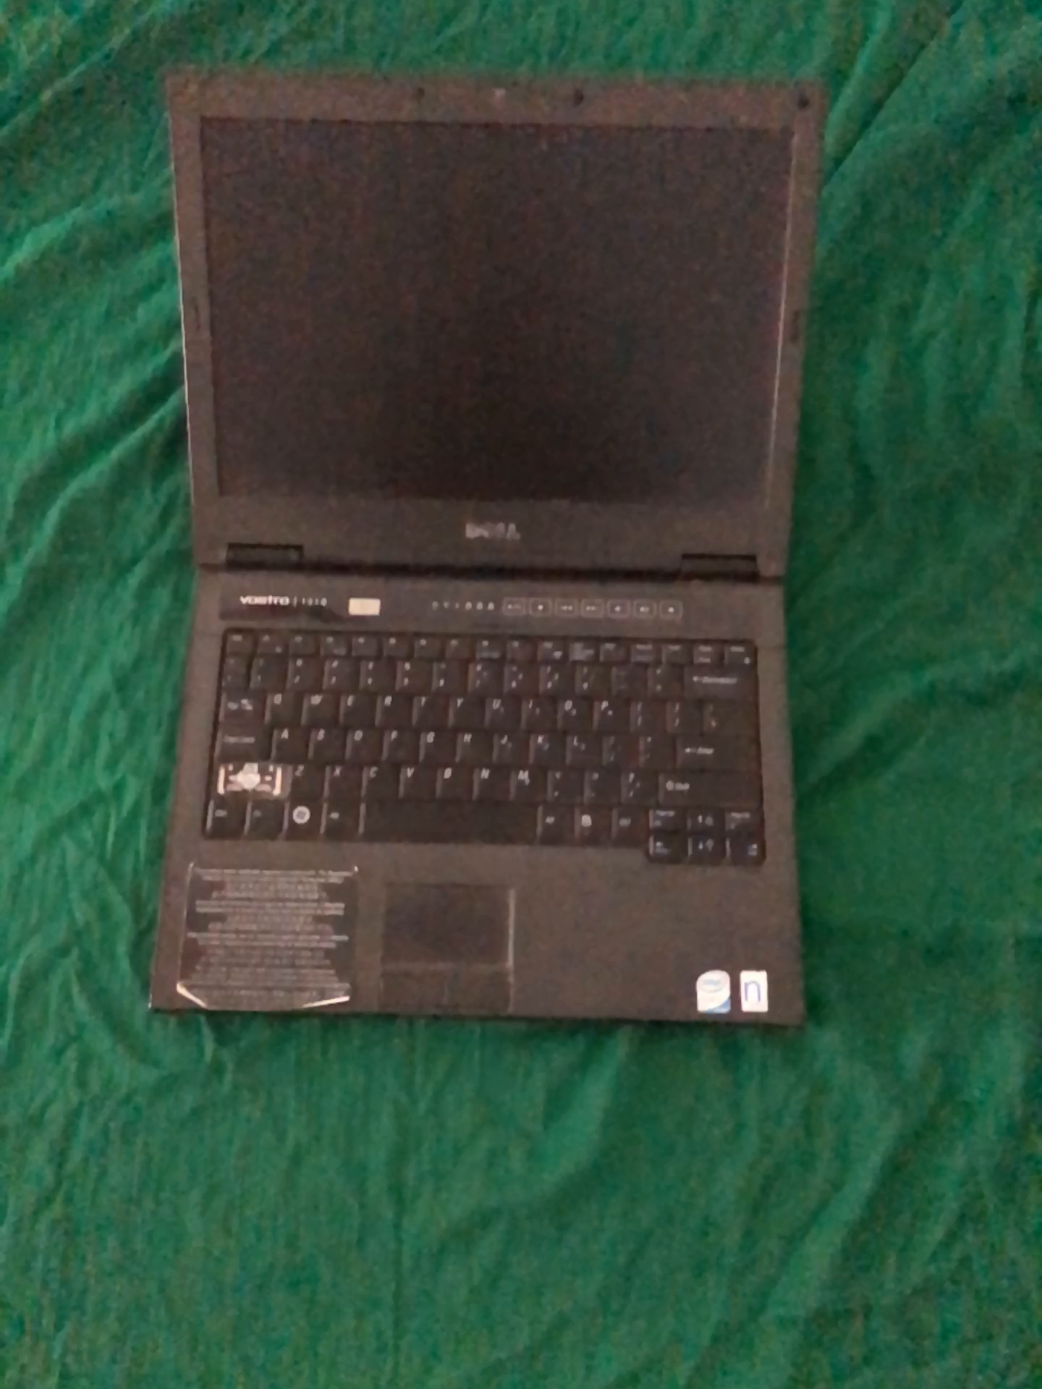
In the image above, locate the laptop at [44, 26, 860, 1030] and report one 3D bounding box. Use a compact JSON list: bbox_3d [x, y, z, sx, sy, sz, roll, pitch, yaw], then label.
[{"bbox_3d":[-0.018,-0.073,0.543,0.313,0.127,0.439,2,77,3],"label":"laptop"}]
